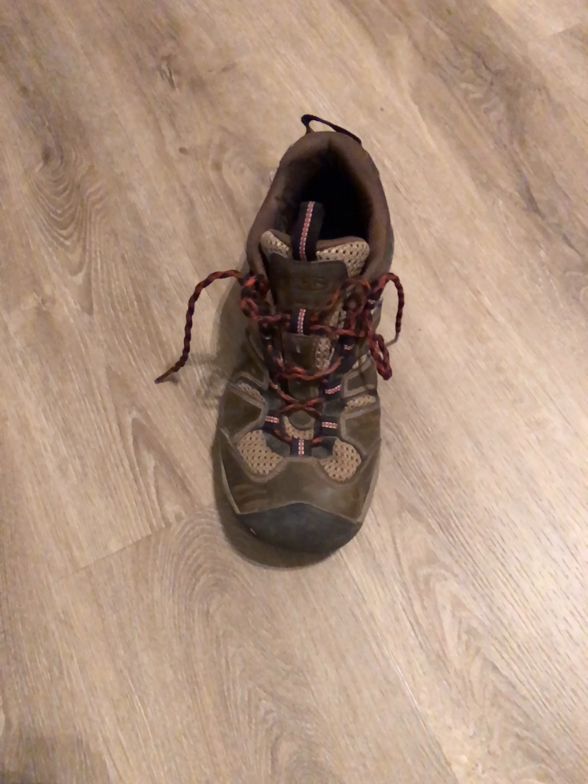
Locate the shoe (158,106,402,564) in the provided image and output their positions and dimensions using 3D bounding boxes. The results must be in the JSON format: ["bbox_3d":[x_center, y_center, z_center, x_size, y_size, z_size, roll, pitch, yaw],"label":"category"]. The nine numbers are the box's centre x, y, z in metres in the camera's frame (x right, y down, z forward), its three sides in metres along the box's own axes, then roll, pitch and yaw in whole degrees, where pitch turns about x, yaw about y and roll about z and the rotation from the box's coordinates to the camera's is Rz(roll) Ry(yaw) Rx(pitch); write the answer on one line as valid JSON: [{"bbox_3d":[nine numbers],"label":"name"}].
[{"bbox_3d":[0.005,-0.041,0.413,0.110,0.100,0.270,3,66,7],"label":"shoe"}]
